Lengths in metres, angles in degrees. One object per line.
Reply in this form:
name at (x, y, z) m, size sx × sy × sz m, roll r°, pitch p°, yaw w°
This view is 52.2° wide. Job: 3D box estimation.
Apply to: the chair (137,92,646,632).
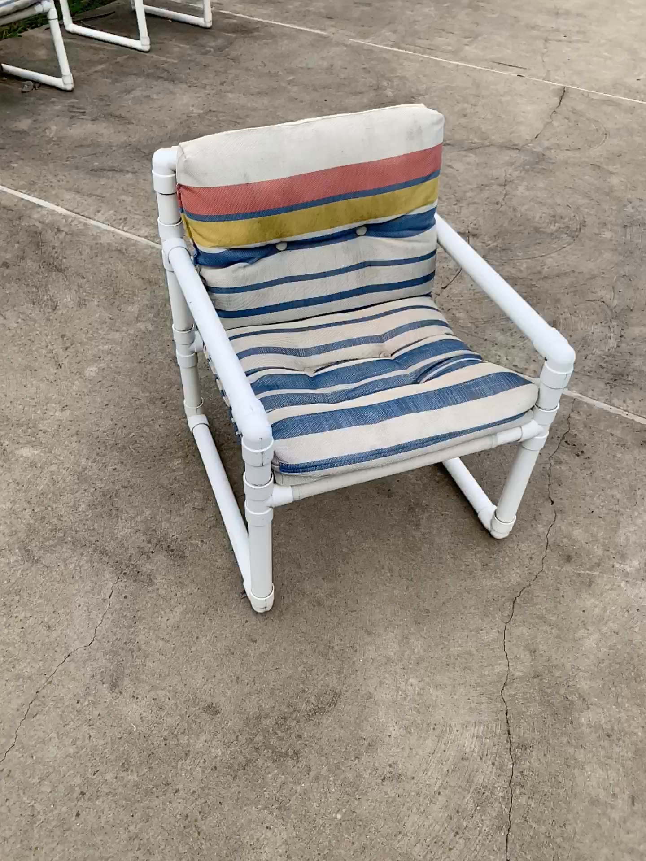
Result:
chair at (0.069, -0.156, 1.306) m, size 0.650 × 0.687 × 0.673 m, roll -13°, pitch 49°, yaw -16°
